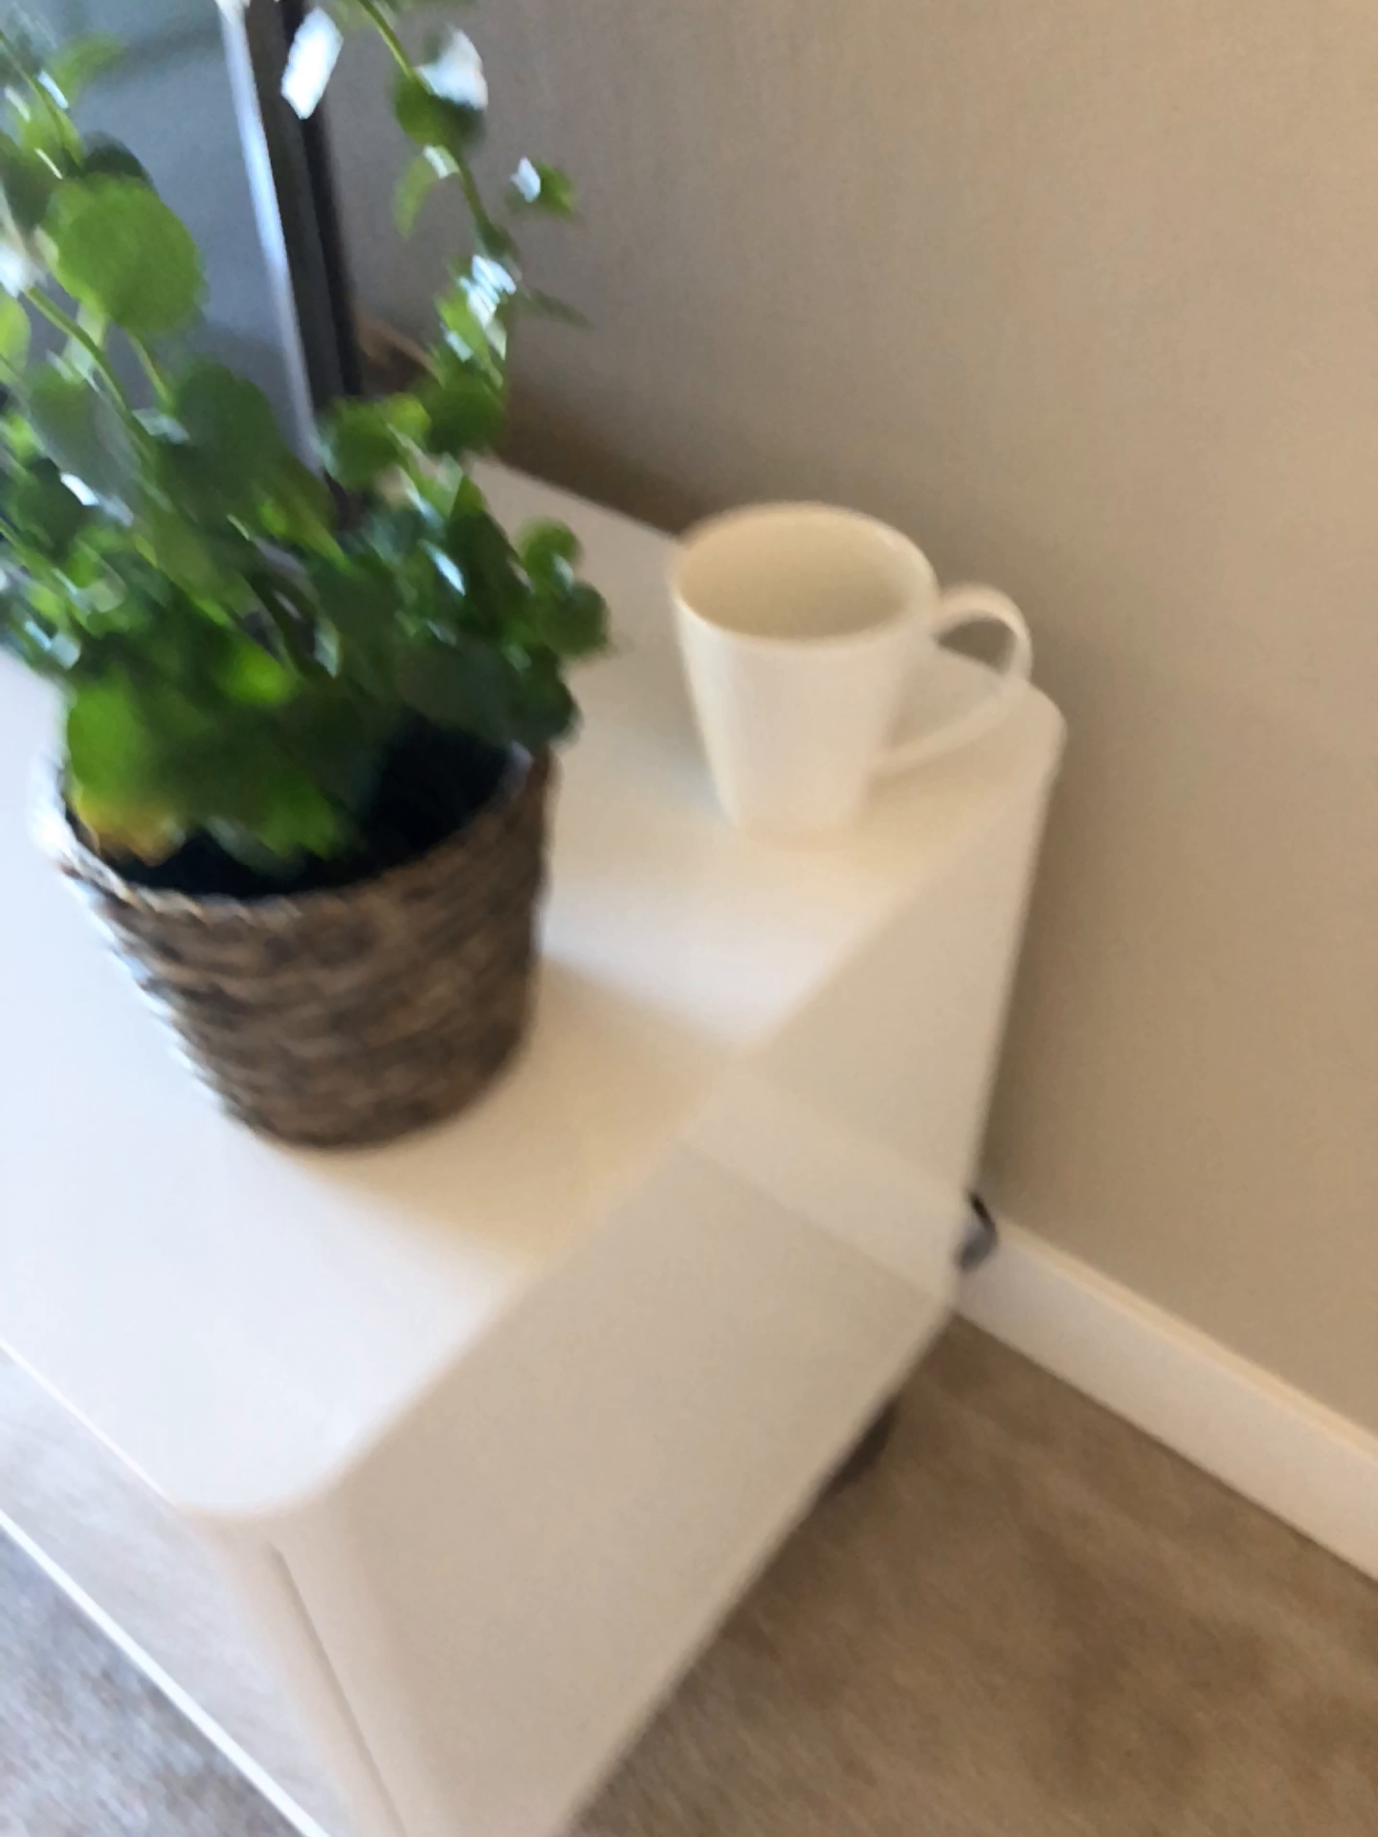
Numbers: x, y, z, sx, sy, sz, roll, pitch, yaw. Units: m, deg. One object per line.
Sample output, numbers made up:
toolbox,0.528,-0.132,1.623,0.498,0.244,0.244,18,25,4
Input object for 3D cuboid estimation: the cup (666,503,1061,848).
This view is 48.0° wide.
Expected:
cup,0.059,-0.090,0.574,0.130,0.090,0.090,1,44,1
